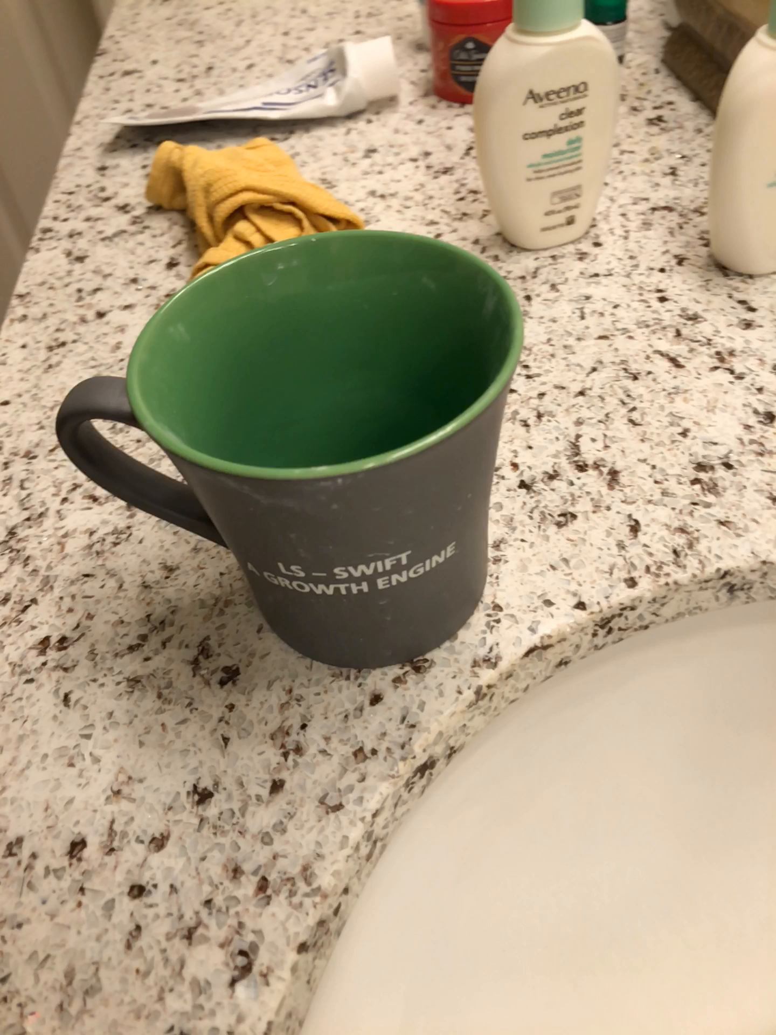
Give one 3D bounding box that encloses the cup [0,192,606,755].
[{"bbox_3d":[-0.022,-0.009,0.241,0.140,0.109,0.101,-4,47,5],"label":"cup"}]
